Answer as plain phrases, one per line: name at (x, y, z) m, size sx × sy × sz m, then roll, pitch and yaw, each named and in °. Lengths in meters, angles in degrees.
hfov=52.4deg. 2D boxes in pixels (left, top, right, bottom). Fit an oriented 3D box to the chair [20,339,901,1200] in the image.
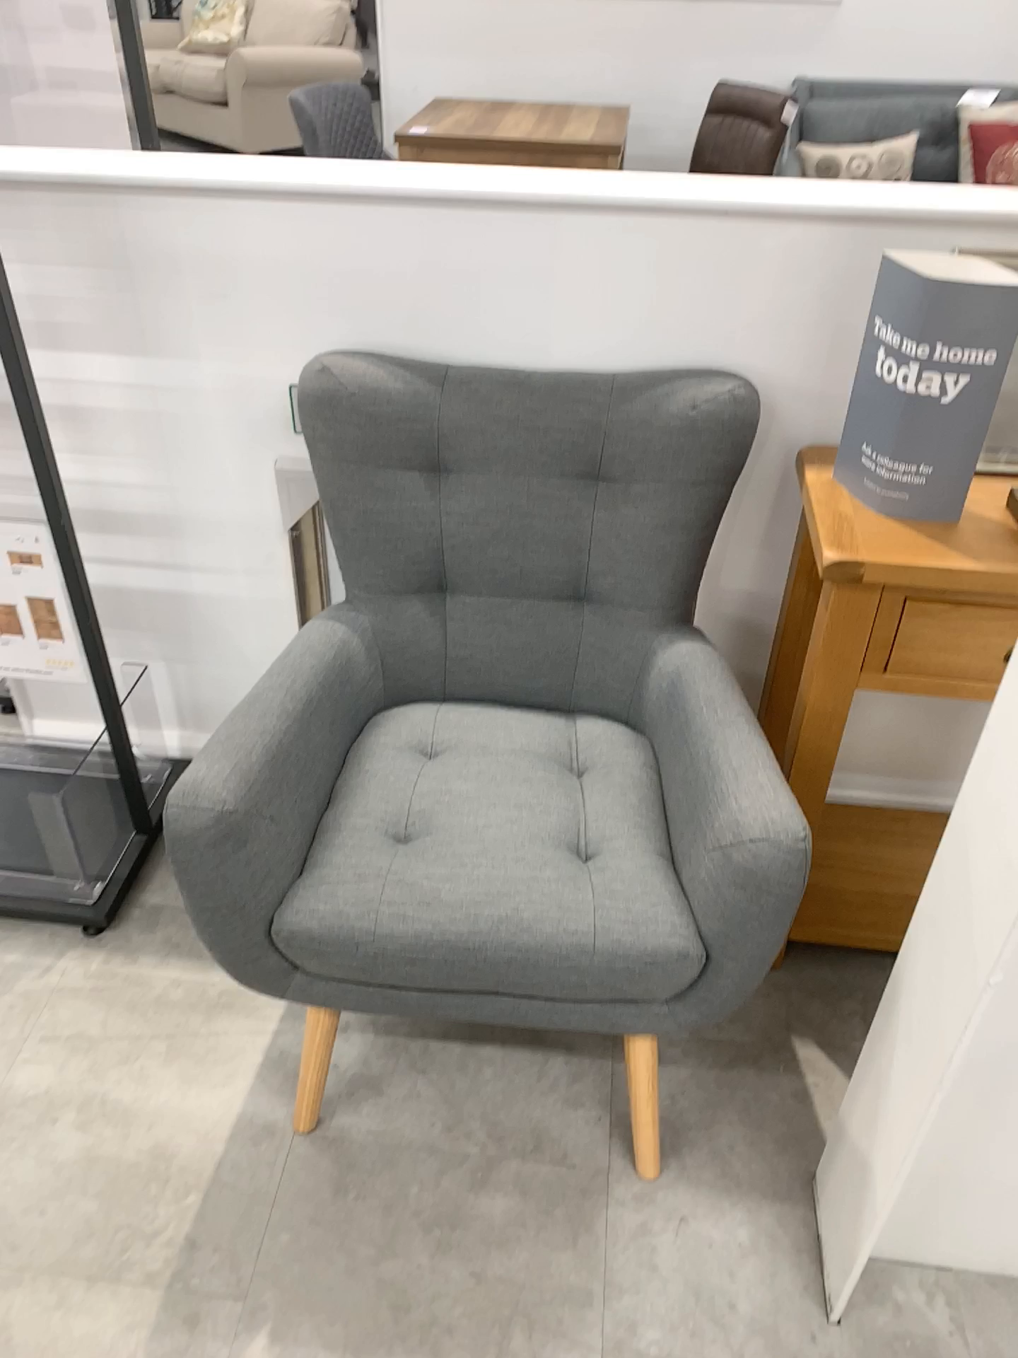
chair at (-0.028, 0.120, 1.299) m, size 0.708 × 0.878 × 0.543 m, roll 5°, pitch 37°, yaw 5°
